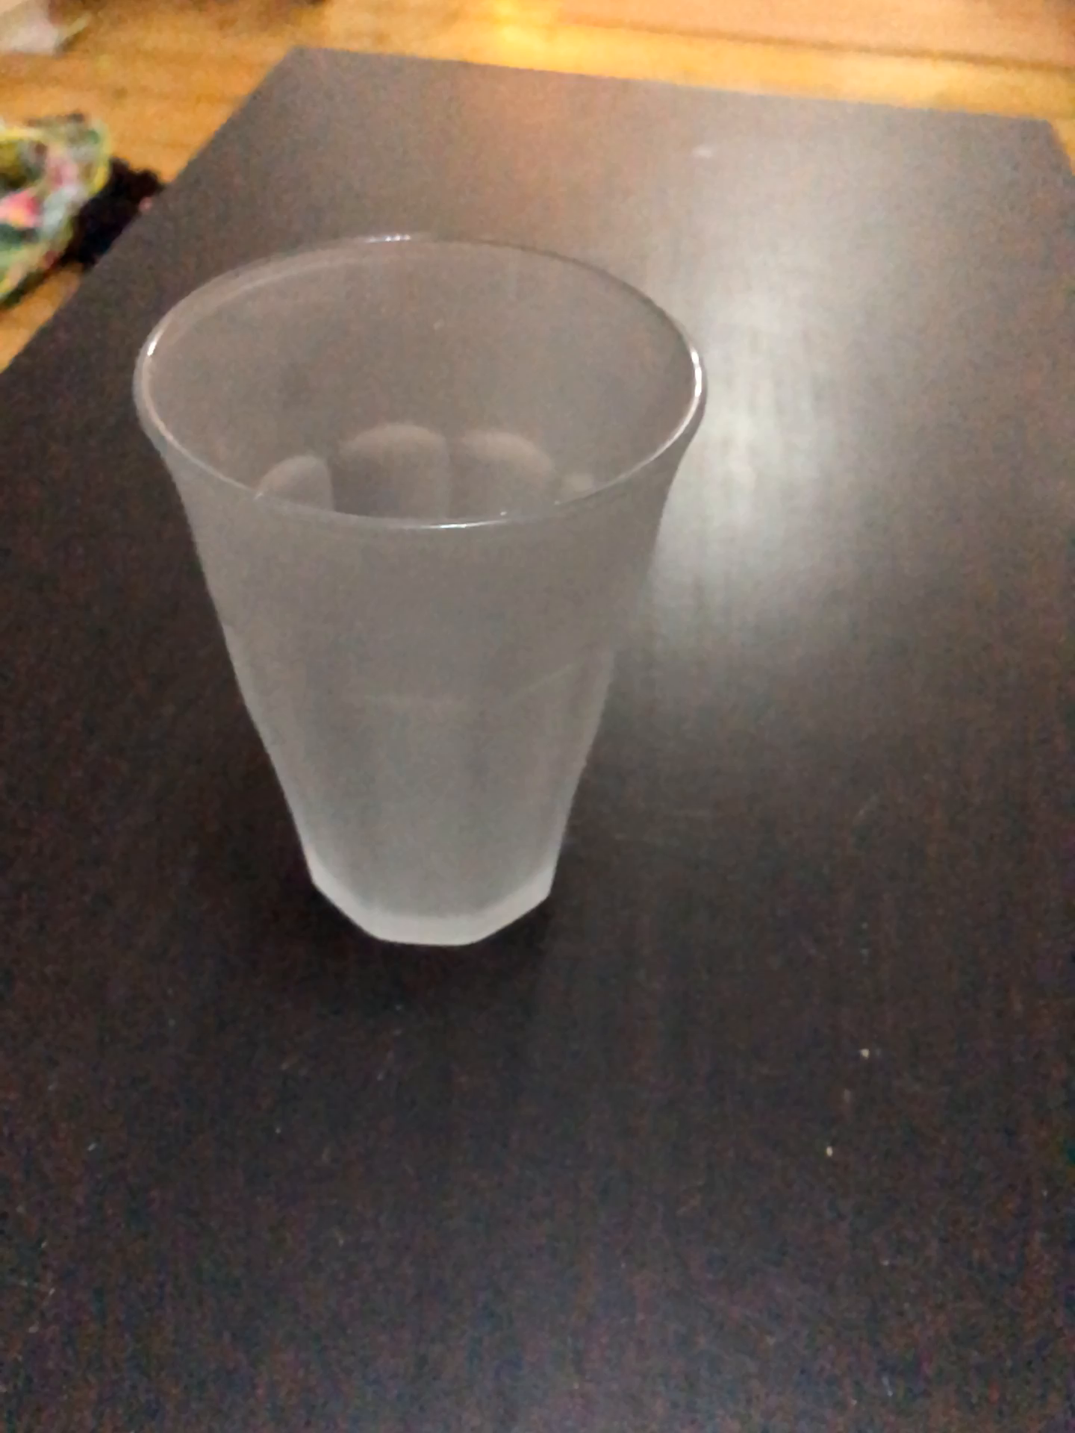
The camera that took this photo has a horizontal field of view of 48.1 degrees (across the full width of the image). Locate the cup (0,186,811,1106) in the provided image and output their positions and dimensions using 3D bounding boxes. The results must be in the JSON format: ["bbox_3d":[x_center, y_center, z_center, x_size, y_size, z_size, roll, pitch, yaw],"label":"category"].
[{"bbox_3d":[-0.027,-0.014,0.240,0.100,0.129,0.090,-25,52,-25],"label":"cup"}]
